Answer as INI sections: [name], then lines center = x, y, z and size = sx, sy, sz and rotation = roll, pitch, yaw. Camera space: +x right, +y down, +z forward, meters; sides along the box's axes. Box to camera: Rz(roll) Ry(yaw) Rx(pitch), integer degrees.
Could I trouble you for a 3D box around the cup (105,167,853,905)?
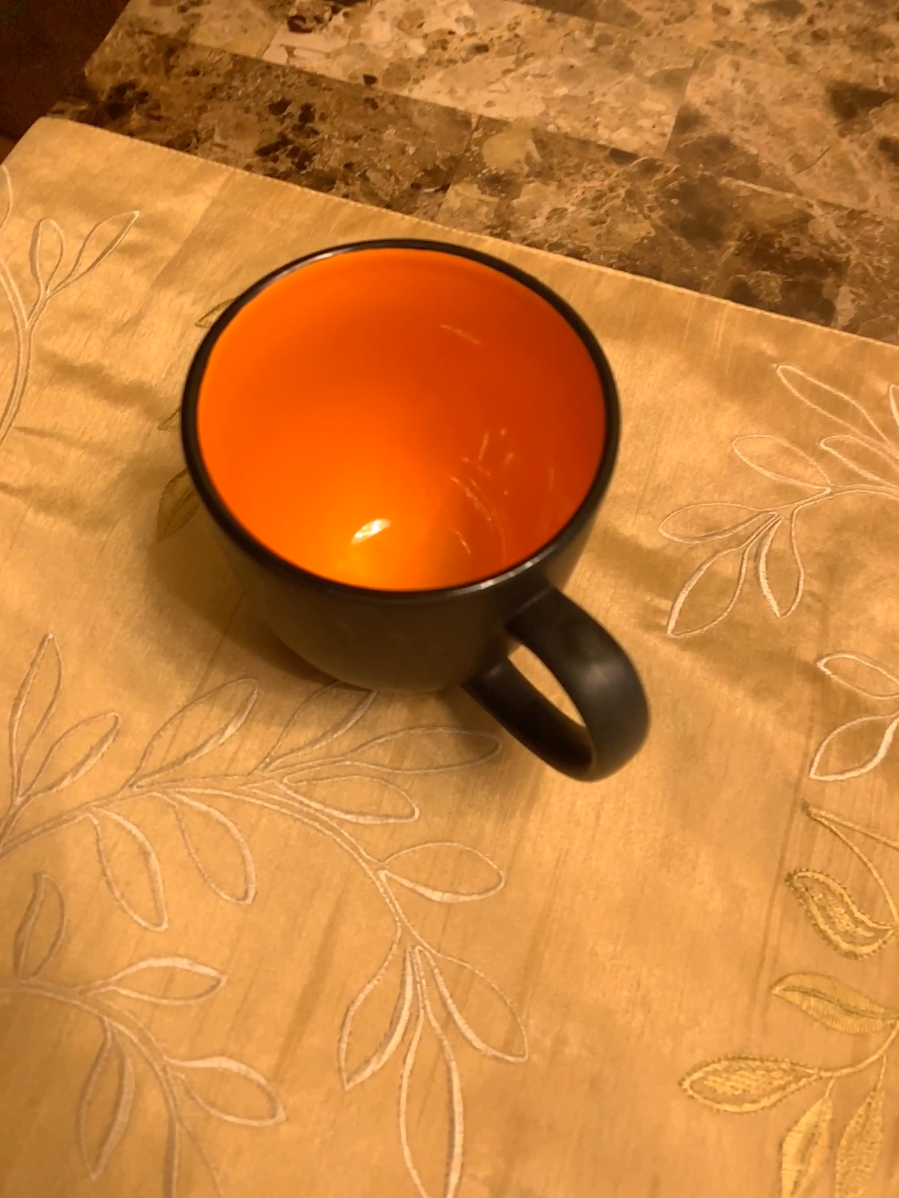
[cup]
center = 0.001, -0.014, 0.234
size = 0.100, 0.088, 0.133
rotation = -32, 71, -16
